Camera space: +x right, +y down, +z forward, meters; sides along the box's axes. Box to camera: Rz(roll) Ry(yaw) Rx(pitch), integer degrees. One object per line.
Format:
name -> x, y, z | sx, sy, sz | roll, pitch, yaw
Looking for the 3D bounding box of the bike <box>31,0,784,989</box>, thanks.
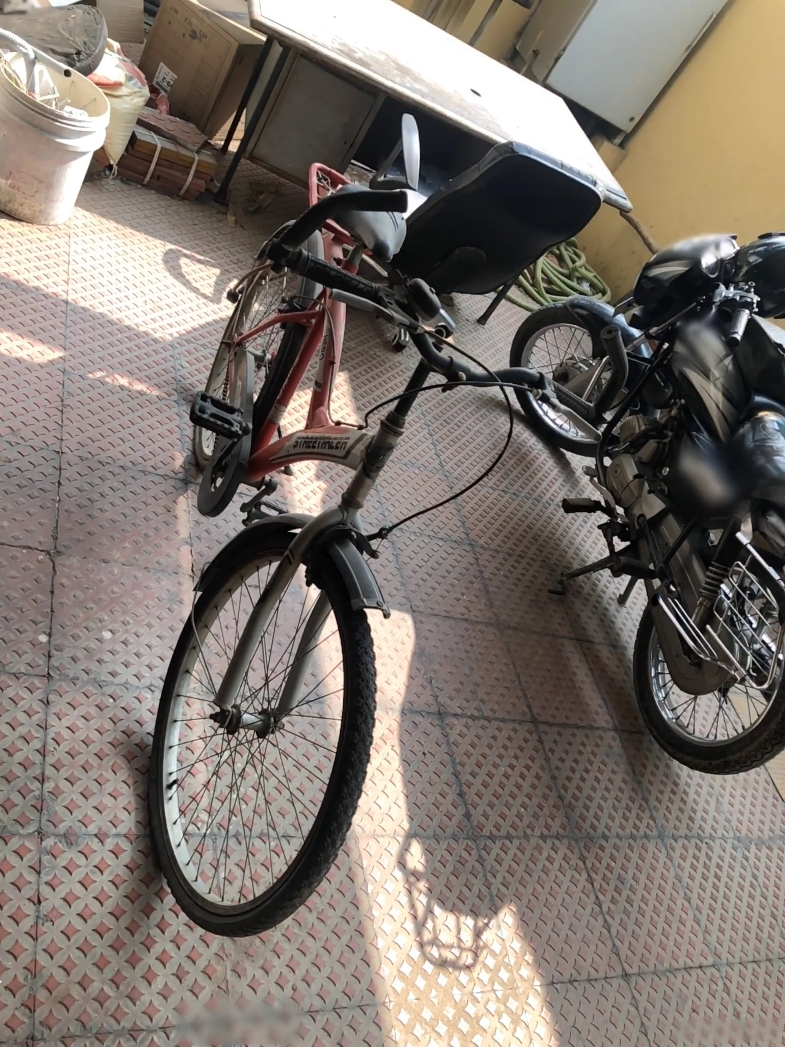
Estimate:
bike -> -0.140, -0.164, 1.616 | 0.576, 0.963, 1.617 | 17, 39, -27
